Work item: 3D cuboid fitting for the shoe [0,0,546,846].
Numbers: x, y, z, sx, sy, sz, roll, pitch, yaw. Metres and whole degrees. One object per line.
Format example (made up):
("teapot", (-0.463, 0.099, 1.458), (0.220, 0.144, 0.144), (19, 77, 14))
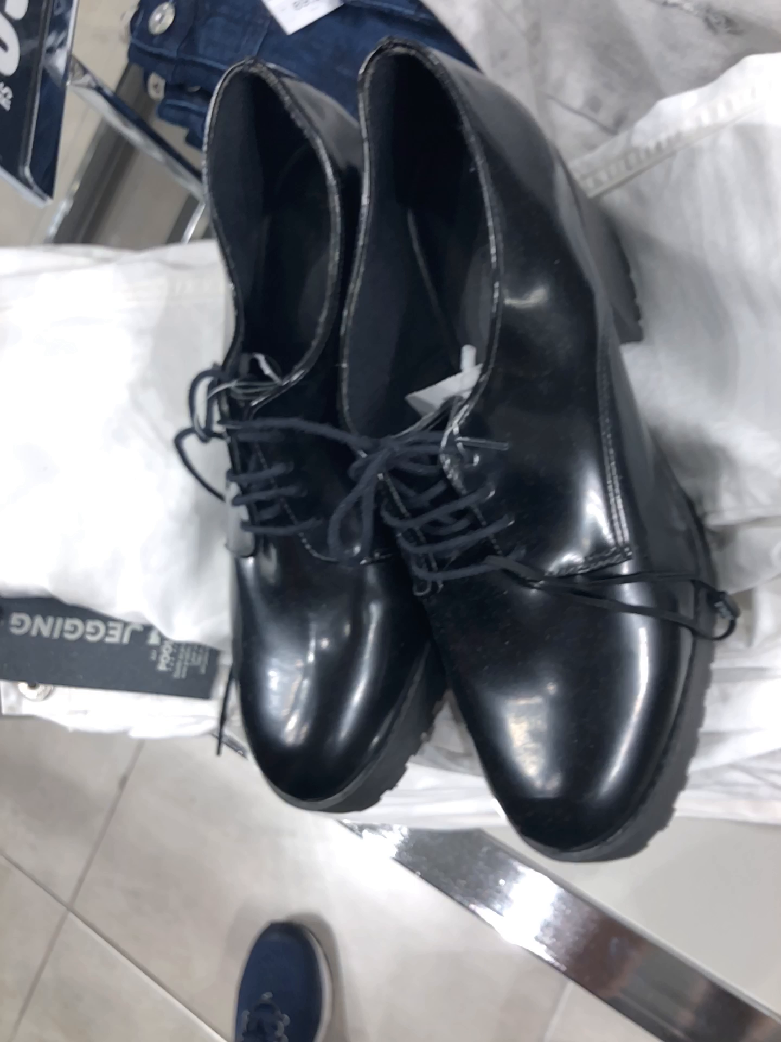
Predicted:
("shoe", (-0.022, -0.024, 0.331), (0.100, 0.160, 0.260), (-2, 73, 28))

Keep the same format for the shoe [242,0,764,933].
("shoe", (0.042, -0.018, 0.292), (0.100, 0.150, 0.260), (-11, 69, 27))
